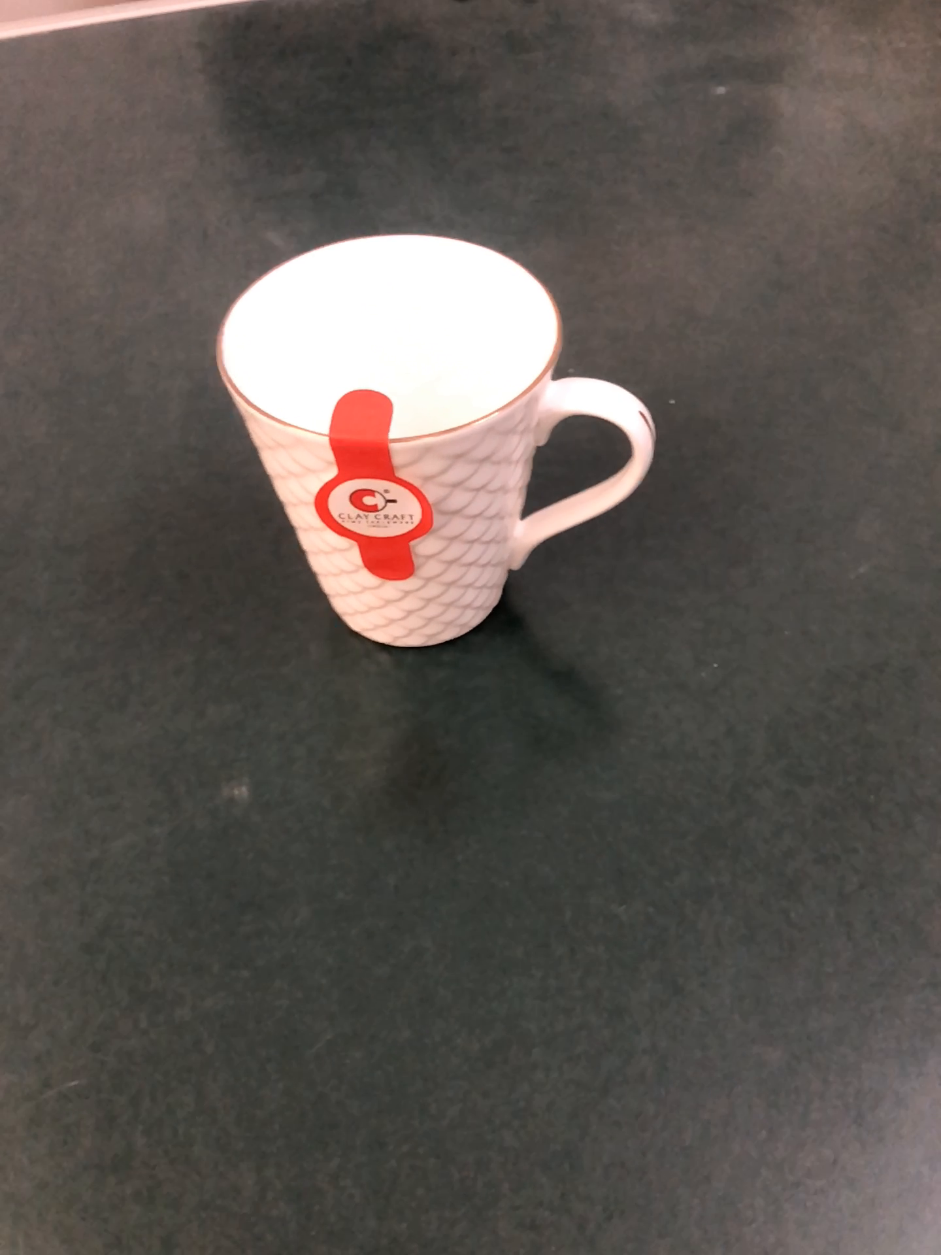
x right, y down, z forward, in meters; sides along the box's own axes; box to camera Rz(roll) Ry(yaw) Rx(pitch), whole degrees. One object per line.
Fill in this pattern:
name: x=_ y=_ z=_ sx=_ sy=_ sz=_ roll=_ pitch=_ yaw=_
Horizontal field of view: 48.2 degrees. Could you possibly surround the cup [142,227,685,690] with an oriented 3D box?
cup: x=-0.008 y=-0.046 z=0.289 sx=0.120 sy=0.090 sz=0.080 roll=4 pitch=51 yaw=6
